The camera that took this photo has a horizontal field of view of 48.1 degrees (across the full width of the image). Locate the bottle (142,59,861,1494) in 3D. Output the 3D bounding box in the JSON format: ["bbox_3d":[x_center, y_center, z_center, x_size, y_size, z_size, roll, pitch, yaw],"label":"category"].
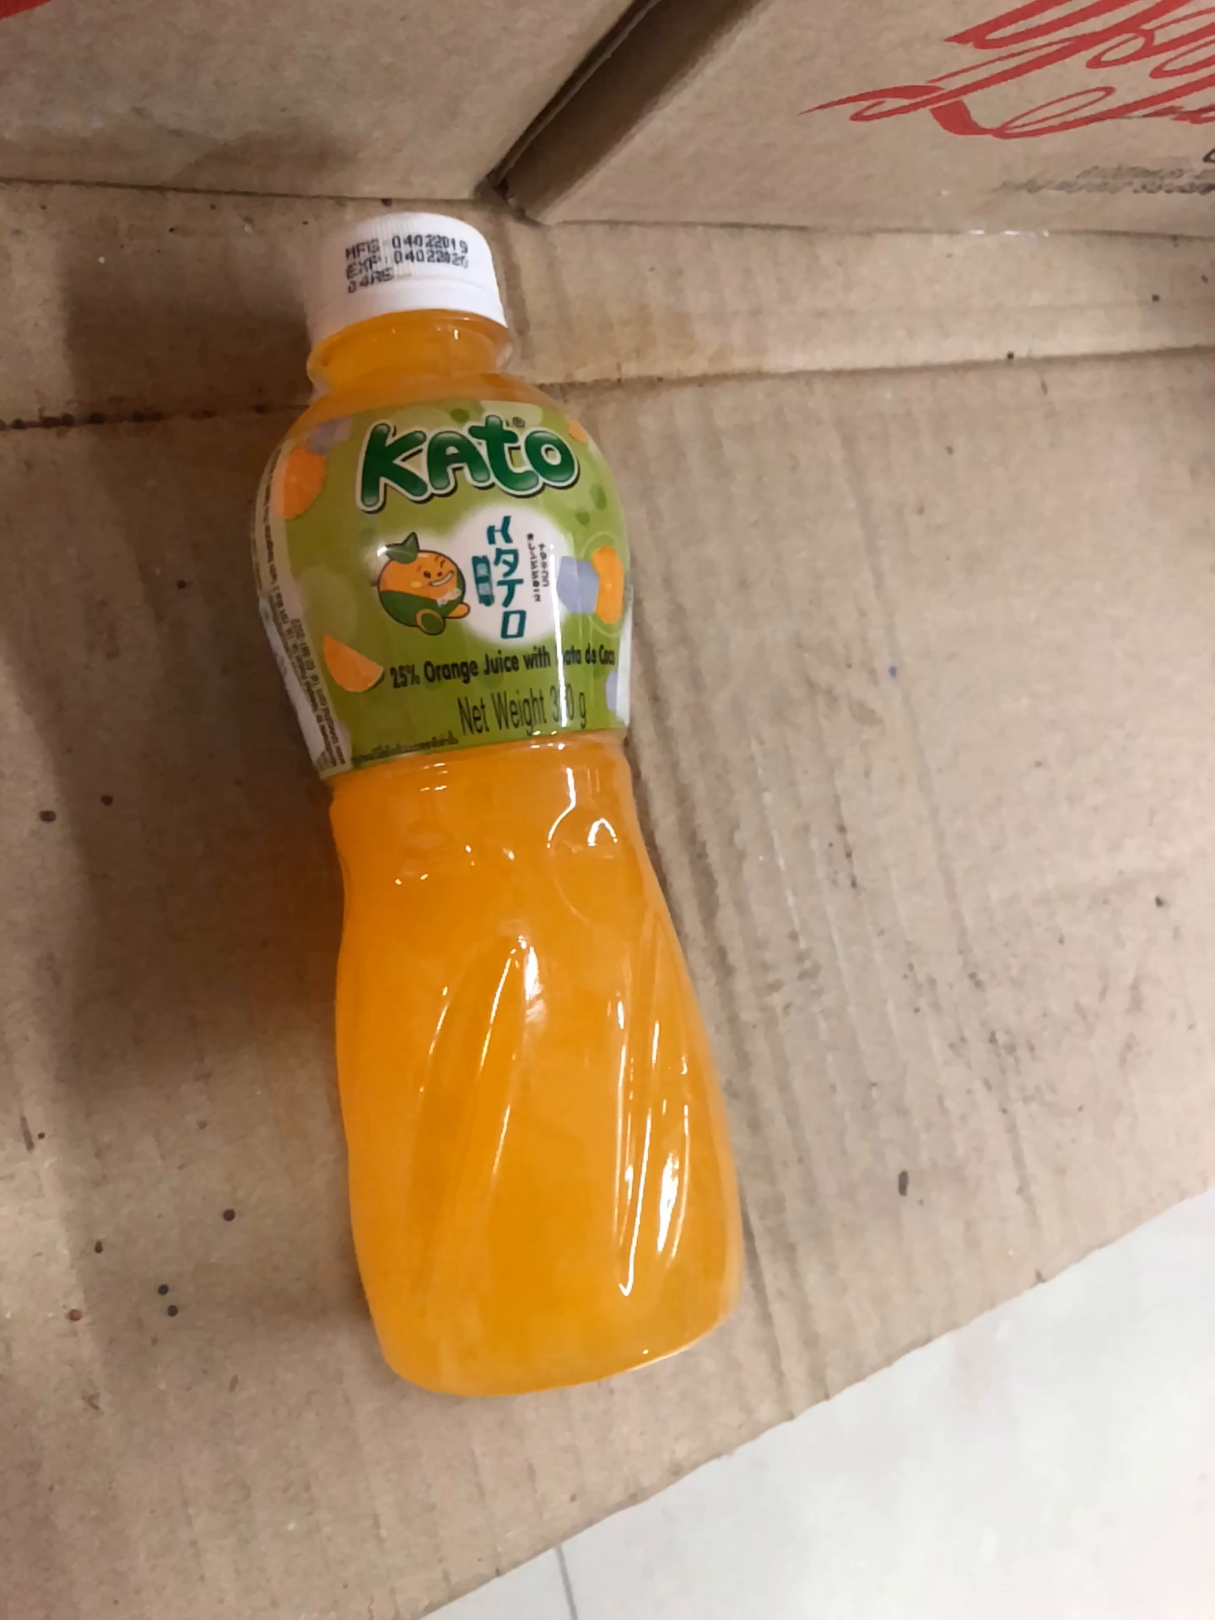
[{"bbox_3d":[-0.020,-0.007,0.221,0.070,0.060,0.190,-8,88,-29],"label":"bottle"}]
